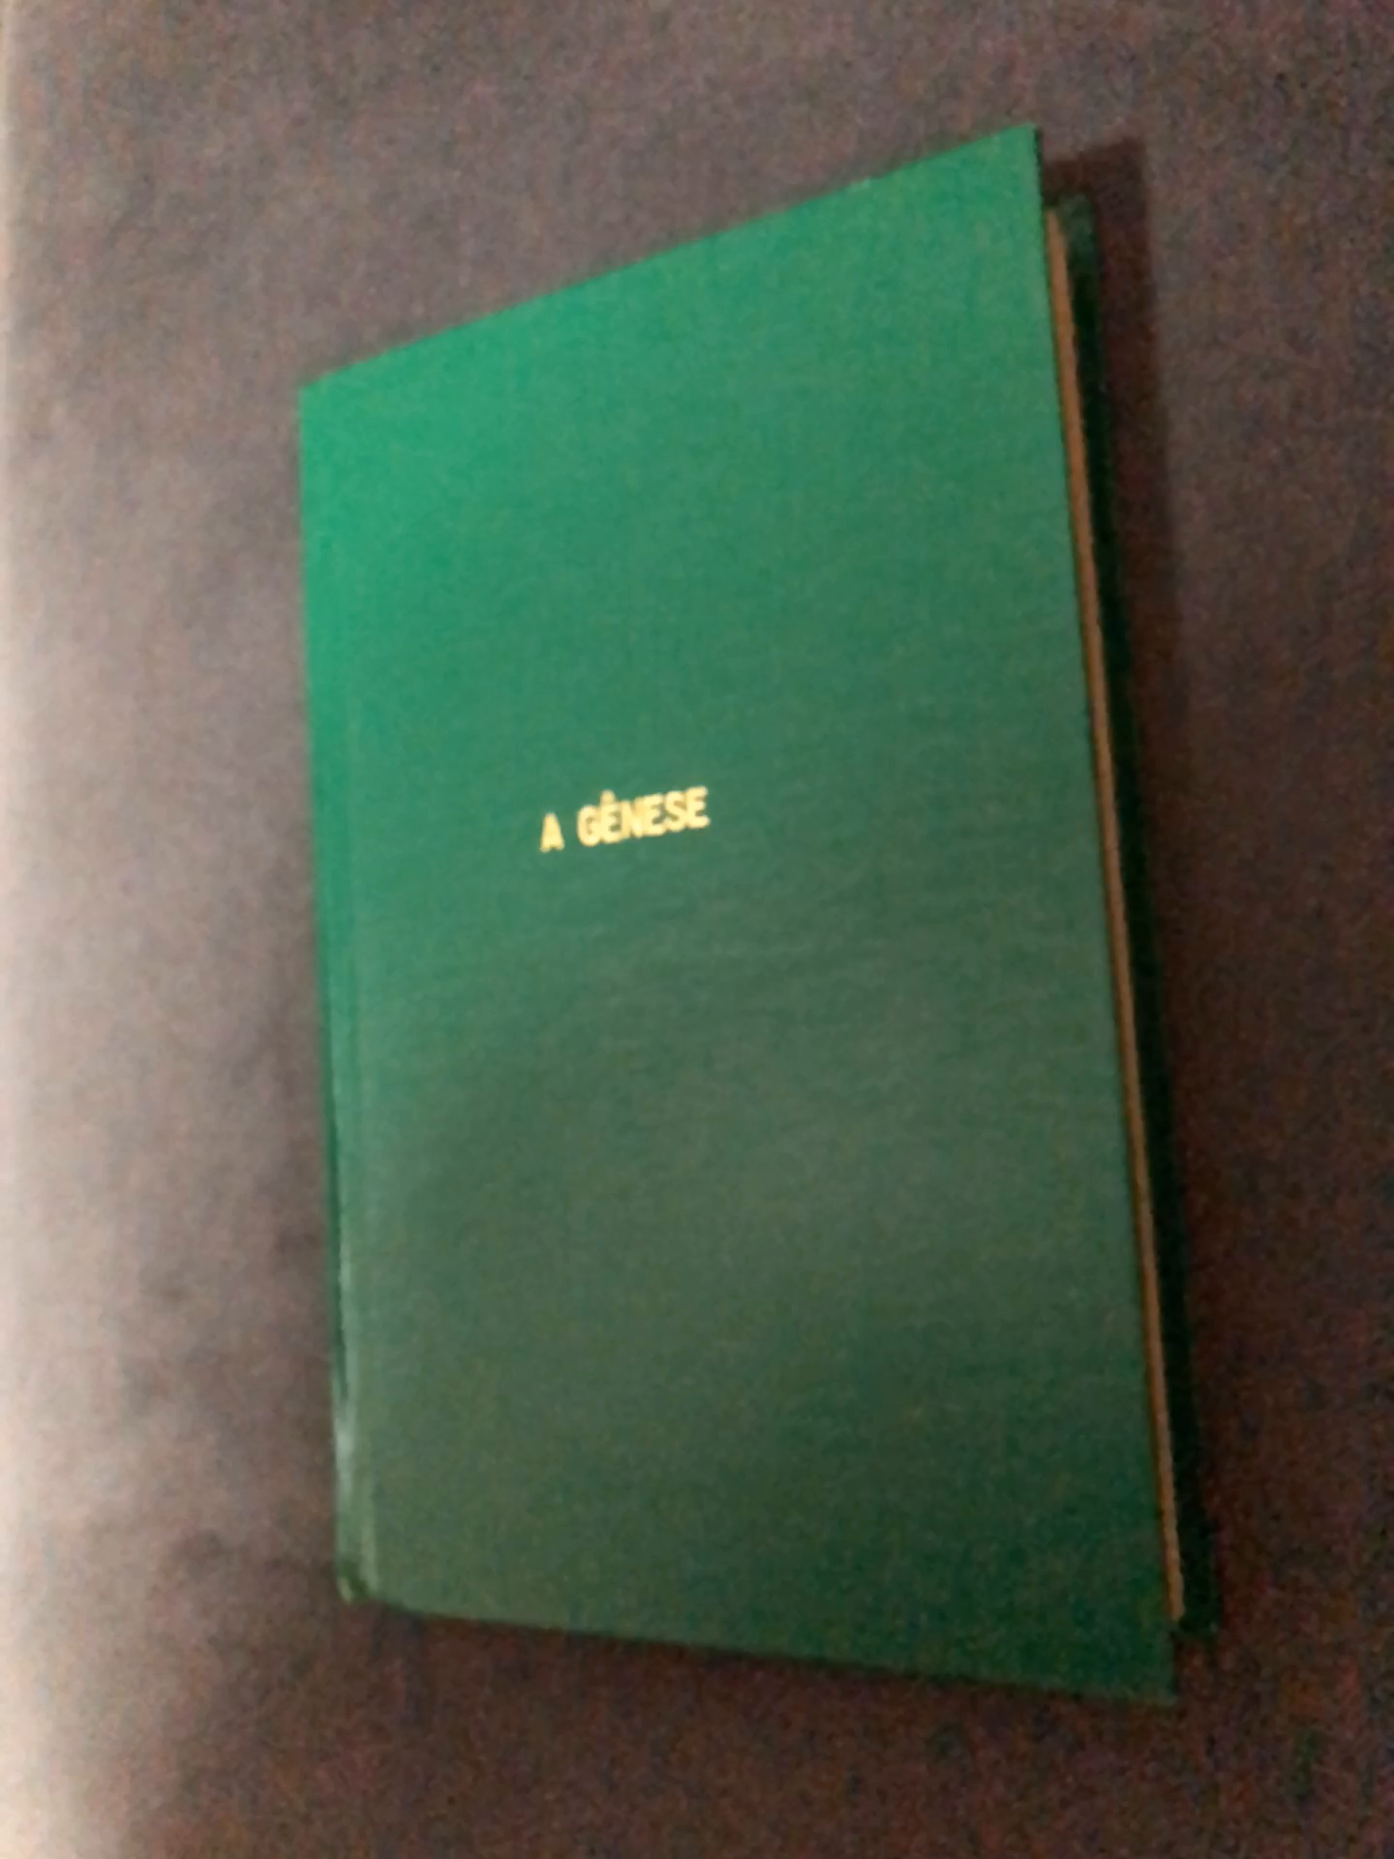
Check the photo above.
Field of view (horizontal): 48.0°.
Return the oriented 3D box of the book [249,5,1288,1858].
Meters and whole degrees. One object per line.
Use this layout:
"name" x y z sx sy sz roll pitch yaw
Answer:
"book" 0.000 0.001 0.255 0.151 0.040 0.240 -7 82 29
